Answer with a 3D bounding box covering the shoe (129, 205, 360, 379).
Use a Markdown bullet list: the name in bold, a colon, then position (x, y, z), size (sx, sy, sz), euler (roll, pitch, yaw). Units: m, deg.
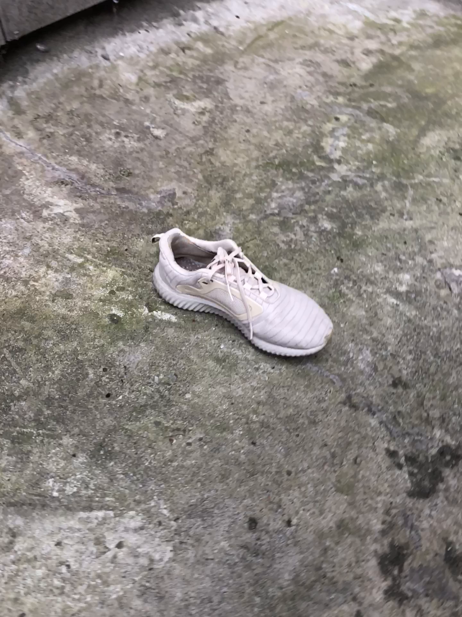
- **shoe**: position (0.016, -0.032, 0.745), size (0.300, 0.109, 0.121), euler (22, 53, 20)
